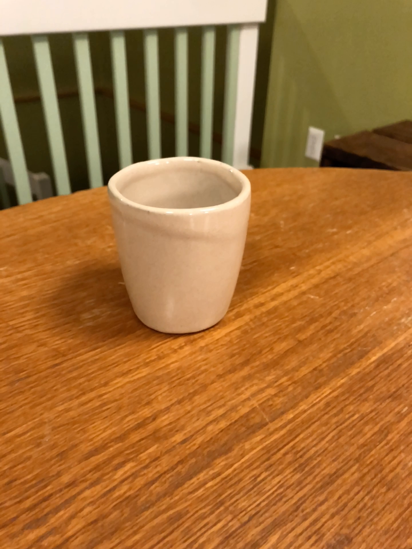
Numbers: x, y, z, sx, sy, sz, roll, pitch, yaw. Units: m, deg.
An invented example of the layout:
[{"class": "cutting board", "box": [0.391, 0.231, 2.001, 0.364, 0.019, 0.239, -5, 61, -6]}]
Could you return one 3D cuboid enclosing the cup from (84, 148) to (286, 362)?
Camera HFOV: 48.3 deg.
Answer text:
[{"class": "cup", "box": [-0.014, -0.018, 0.290, 0.083, 0.086, 0.084, 1, 33, -1]}]
